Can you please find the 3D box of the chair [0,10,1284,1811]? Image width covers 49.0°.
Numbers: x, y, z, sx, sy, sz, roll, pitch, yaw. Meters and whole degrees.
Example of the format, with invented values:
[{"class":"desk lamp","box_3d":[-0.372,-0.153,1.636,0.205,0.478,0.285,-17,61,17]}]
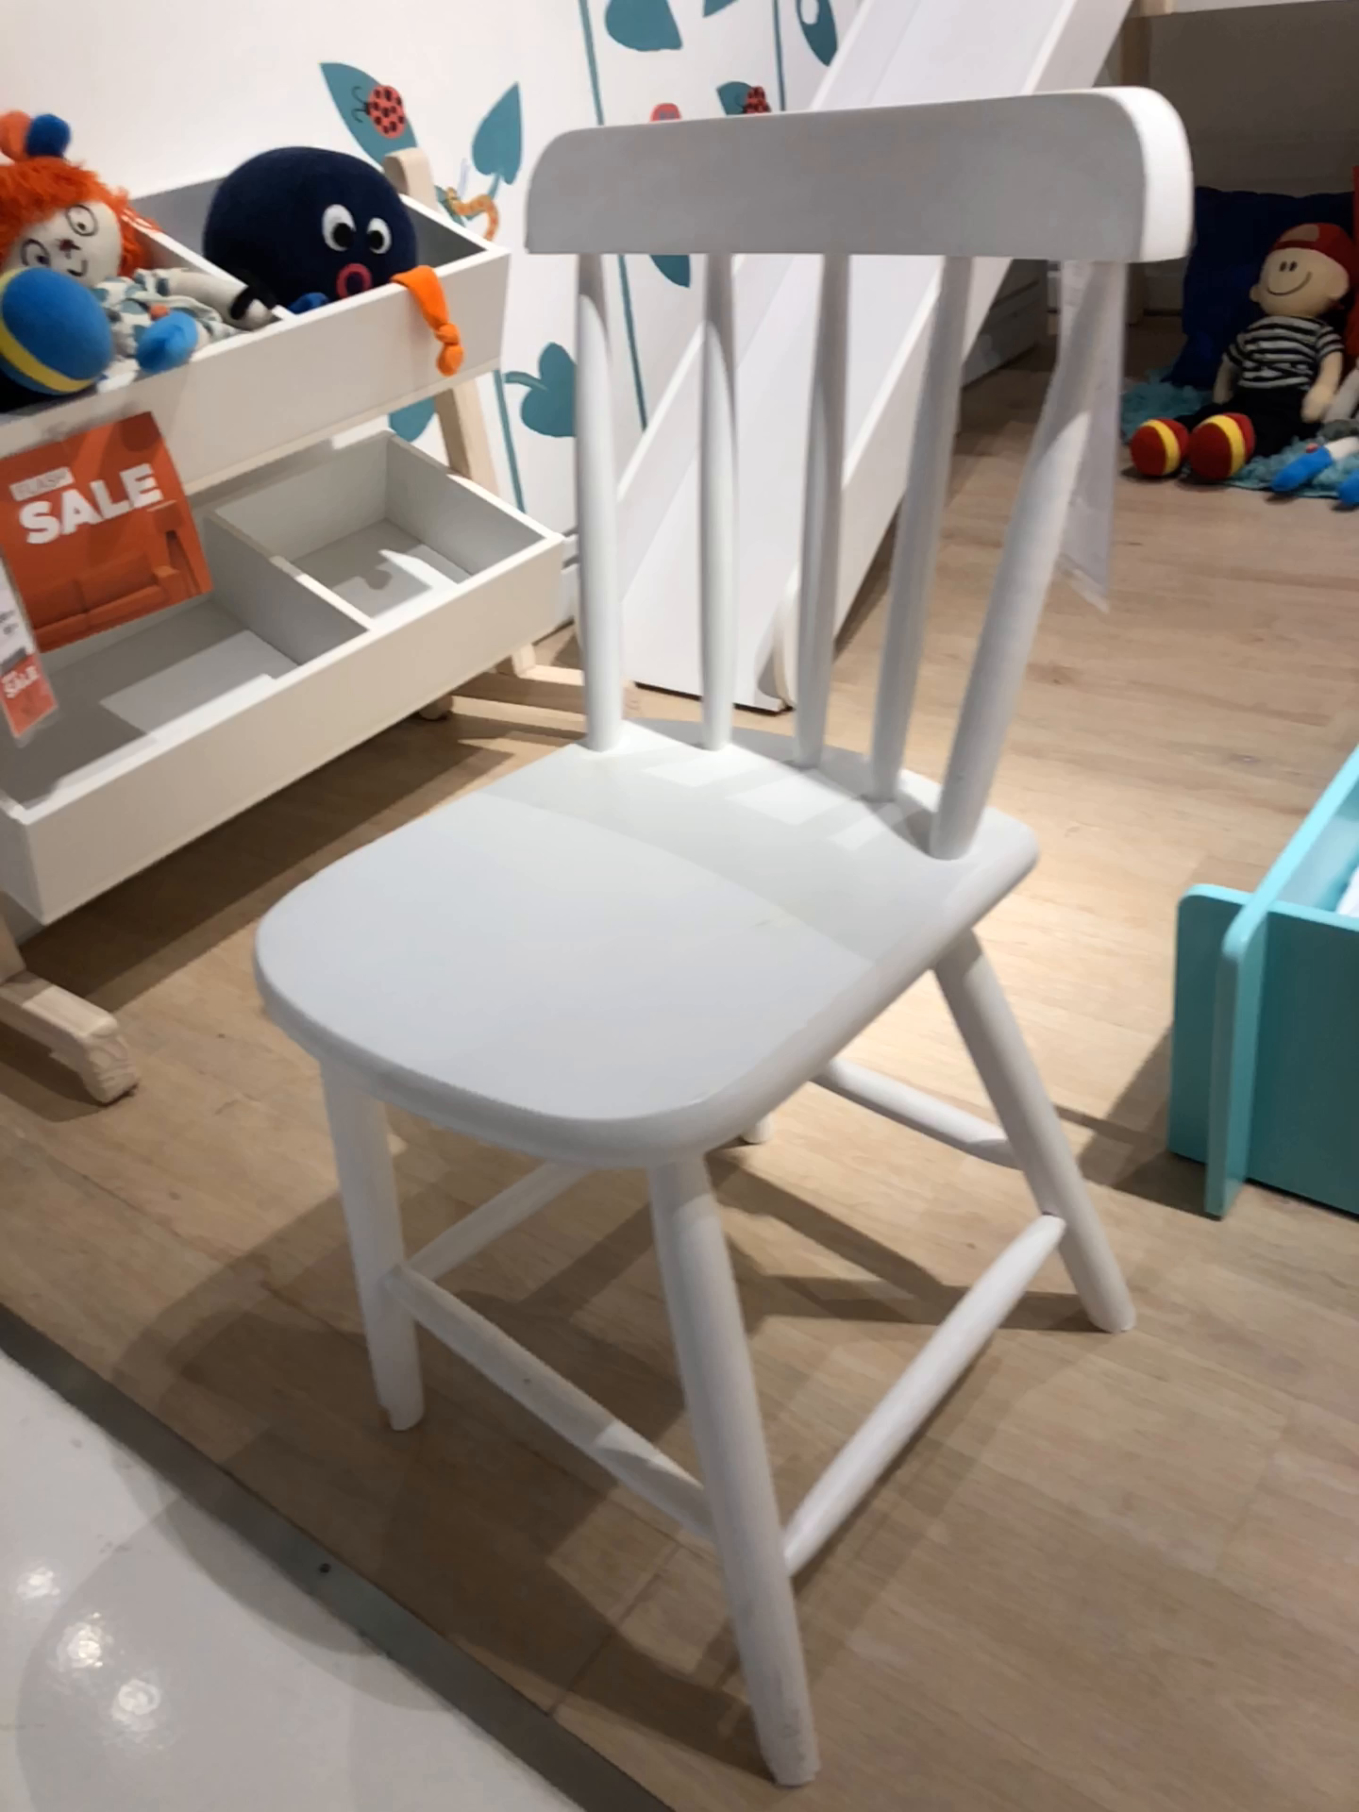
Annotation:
[{"class":"chair","box_3d":[-0.004,-0.013,0.830,0.442,0.754,0.432,22,44,40]}]
